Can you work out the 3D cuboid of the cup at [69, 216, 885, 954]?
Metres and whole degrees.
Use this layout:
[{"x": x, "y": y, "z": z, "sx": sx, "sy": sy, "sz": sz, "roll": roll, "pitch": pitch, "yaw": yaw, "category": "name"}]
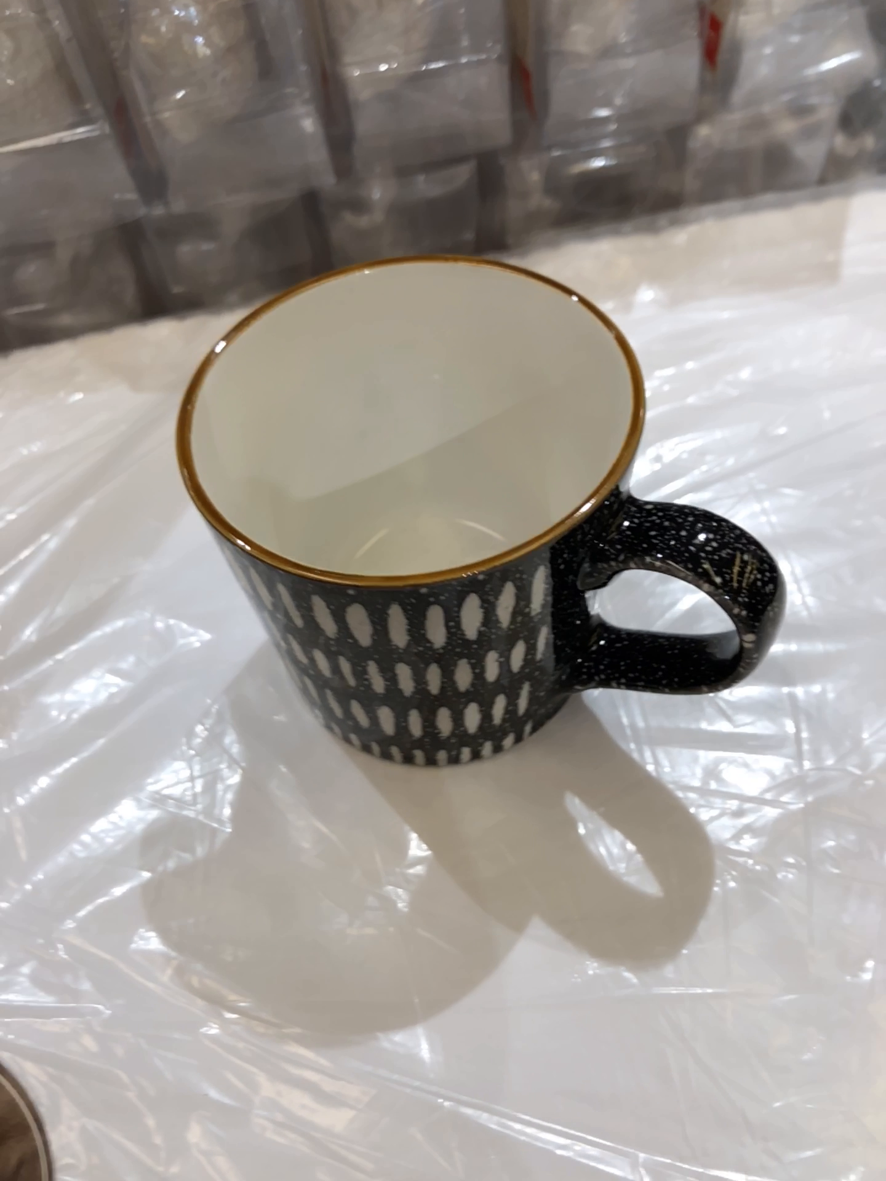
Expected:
[{"x": 0.009, "y": -0.004, "z": 0.196, "sx": 0.110, "sy": 0.080, "sz": 0.080, "roll": 22, "pitch": 58, "yaw": 20, "category": "cup"}]
